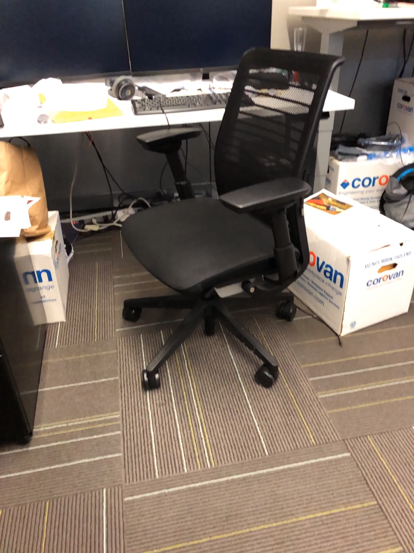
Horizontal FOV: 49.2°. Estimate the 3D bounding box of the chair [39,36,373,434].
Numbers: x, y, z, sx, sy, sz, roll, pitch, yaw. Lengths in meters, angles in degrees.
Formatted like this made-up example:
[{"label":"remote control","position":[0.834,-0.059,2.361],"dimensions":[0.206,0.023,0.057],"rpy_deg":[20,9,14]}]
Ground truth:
[{"label":"chair","position":[-0.030,-0.191,1.418],"dimensions":[0.611,0.935,0.673],"rpy_deg":[-19,35,-26]}]
